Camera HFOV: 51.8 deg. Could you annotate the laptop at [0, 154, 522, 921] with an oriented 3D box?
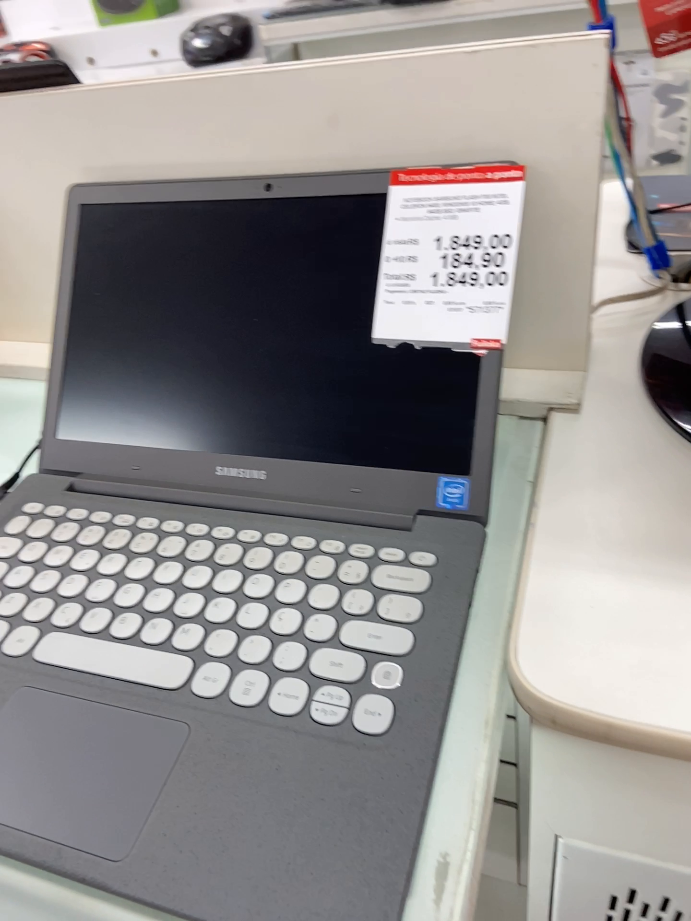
[{"bbox_3d":[-0.094,-0.012,0.379,0.319,0.144,0.366,5,43,20],"label":"laptop"}]
